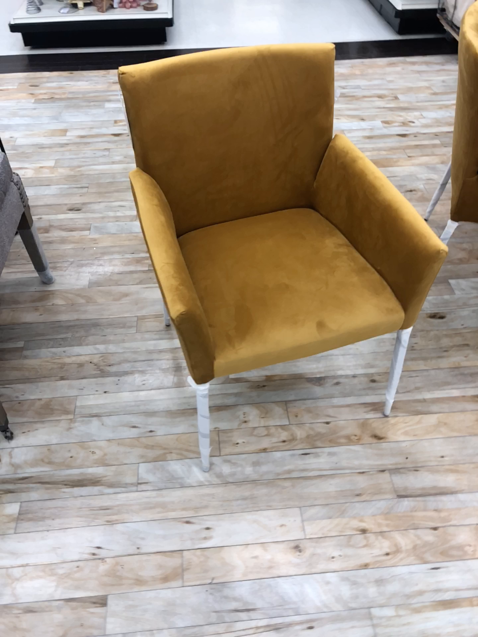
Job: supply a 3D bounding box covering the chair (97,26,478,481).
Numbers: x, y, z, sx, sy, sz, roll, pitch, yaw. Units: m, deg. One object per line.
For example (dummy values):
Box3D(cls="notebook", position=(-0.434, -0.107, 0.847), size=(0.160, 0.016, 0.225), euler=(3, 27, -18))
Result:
Box3D(cls="chair", position=(0.066, -0.135, 1.230), size=(0.560, 0.797, 0.542), euler=(-14, 47, -13))
